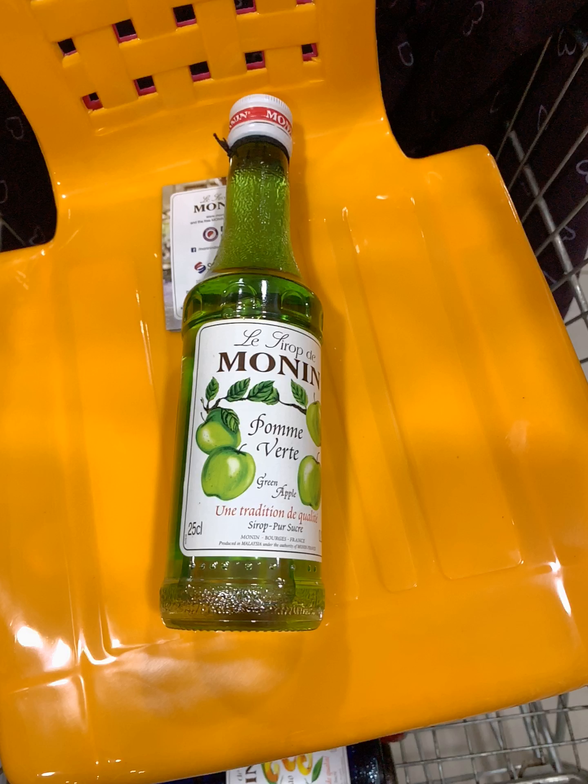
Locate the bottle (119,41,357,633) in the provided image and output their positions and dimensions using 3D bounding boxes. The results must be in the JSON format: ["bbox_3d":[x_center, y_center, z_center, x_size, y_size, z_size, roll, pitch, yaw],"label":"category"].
[{"bbox_3d":[-0.018,-0.022,0.252,0.060,0.060,0.220,-15,66,46],"label":"bottle"}]

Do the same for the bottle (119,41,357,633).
[{"bbox_3d":[-0.018,-0.022,0.252,0.060,0.060,0.220,-15,66,46],"label":"bottle"}]
